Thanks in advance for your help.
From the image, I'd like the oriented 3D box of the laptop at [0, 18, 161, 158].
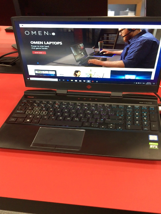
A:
[{"bbox_3d":[-0.001,-0.060,0.496,0.399,0.221,0.273,4,42,8],"label":"laptop"}]
